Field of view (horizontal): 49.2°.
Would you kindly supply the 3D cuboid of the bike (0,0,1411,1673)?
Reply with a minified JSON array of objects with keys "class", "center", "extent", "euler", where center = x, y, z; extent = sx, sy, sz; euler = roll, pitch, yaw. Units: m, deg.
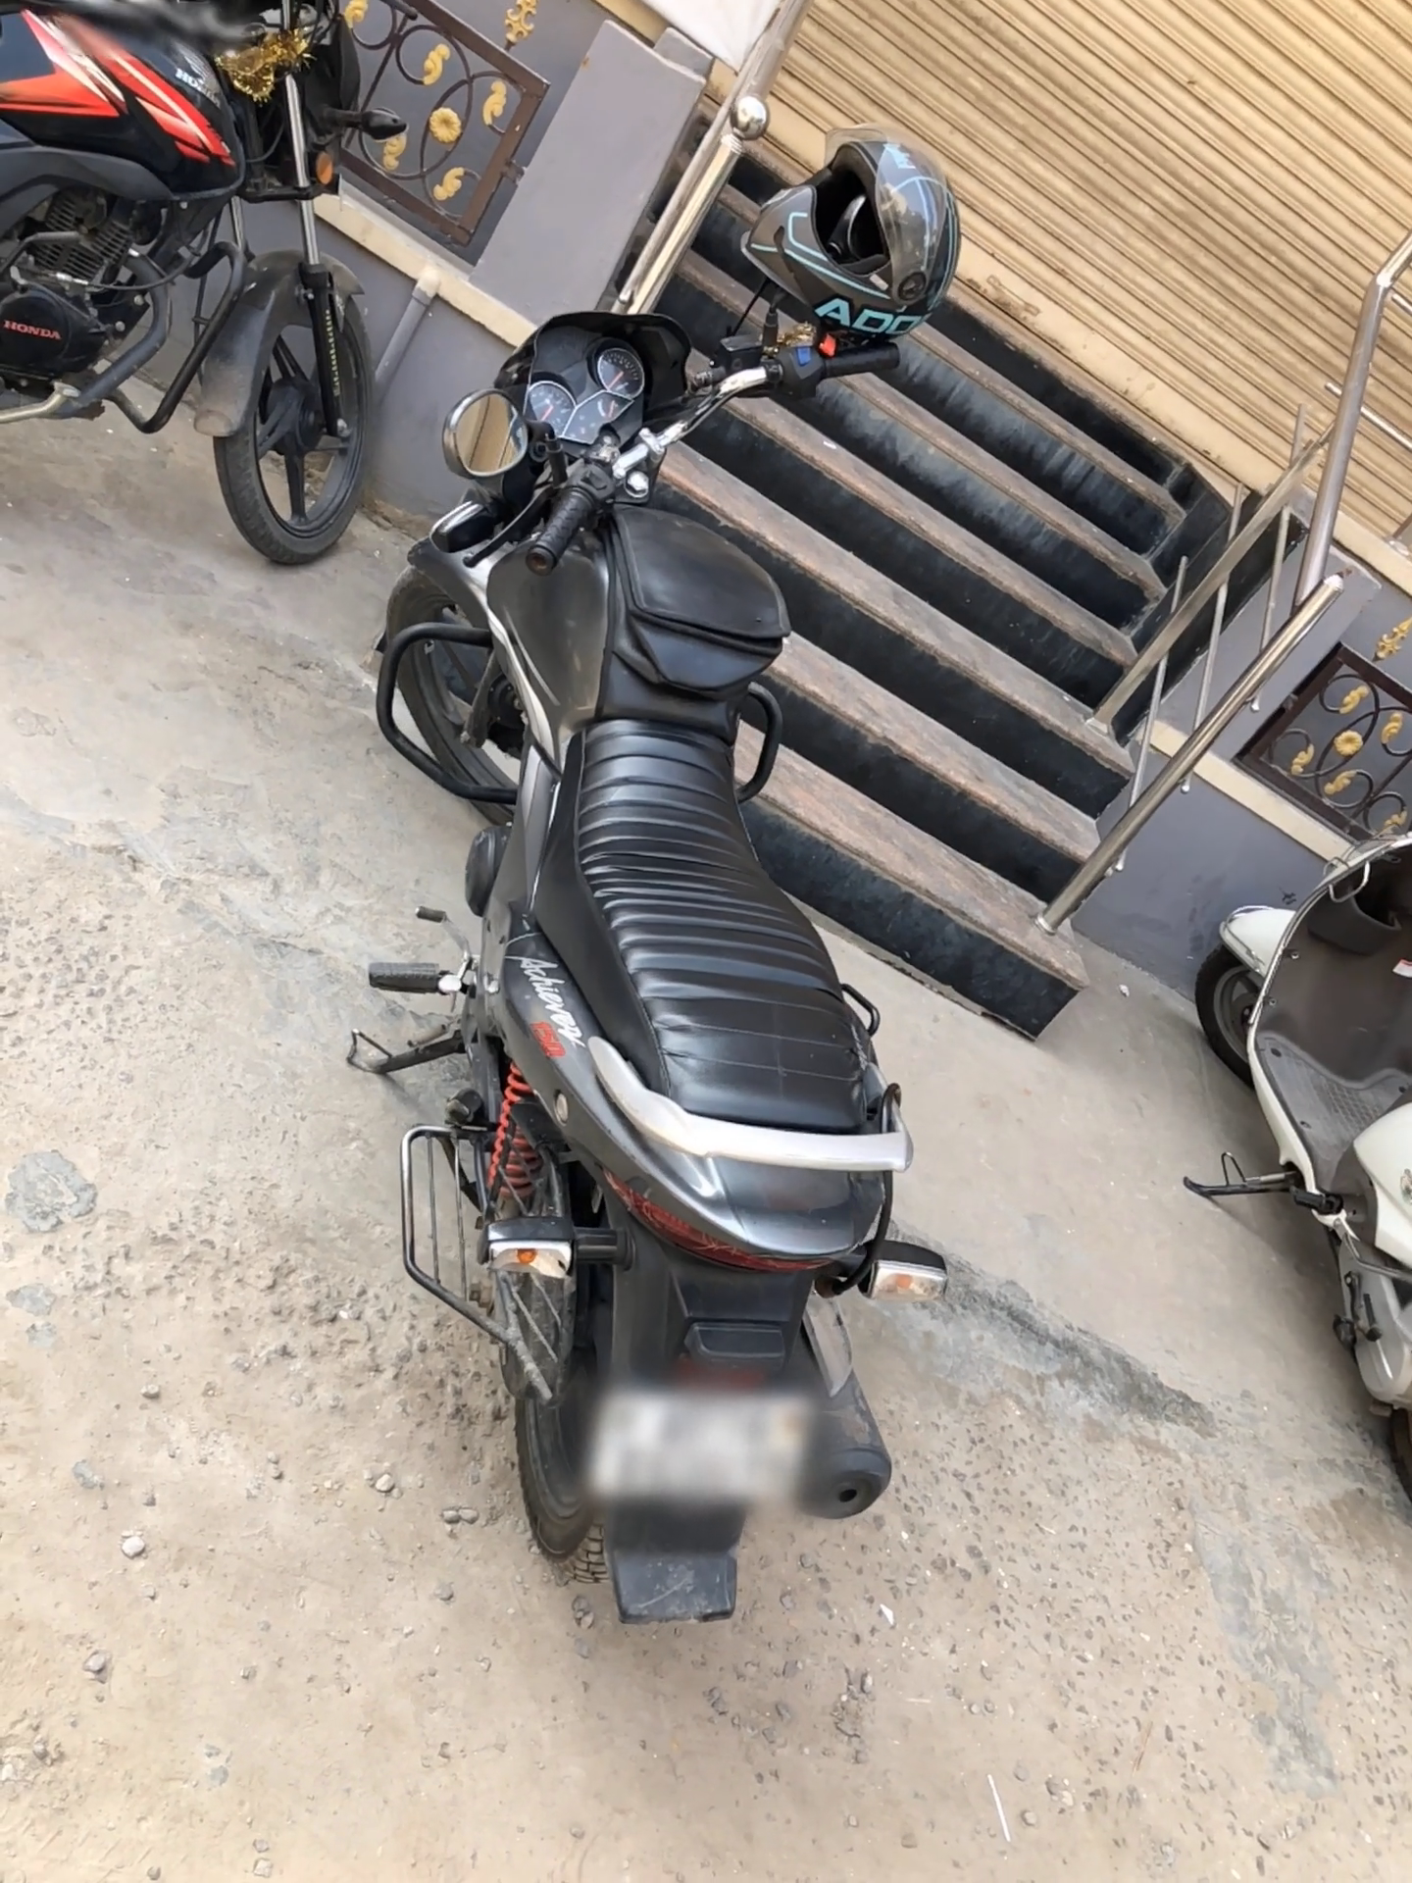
[{"class":"bike","center":[-0.265,-0.337,1.862],"extent":[0.747,1.156,1.741],"euler":[18,34,-34]}]

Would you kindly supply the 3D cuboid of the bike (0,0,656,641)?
[{"class":"bike","center":[-1.024,-1.176,2.458],"extent":[0.683,1.057,1.606],"euler":[46,26,19]}]
